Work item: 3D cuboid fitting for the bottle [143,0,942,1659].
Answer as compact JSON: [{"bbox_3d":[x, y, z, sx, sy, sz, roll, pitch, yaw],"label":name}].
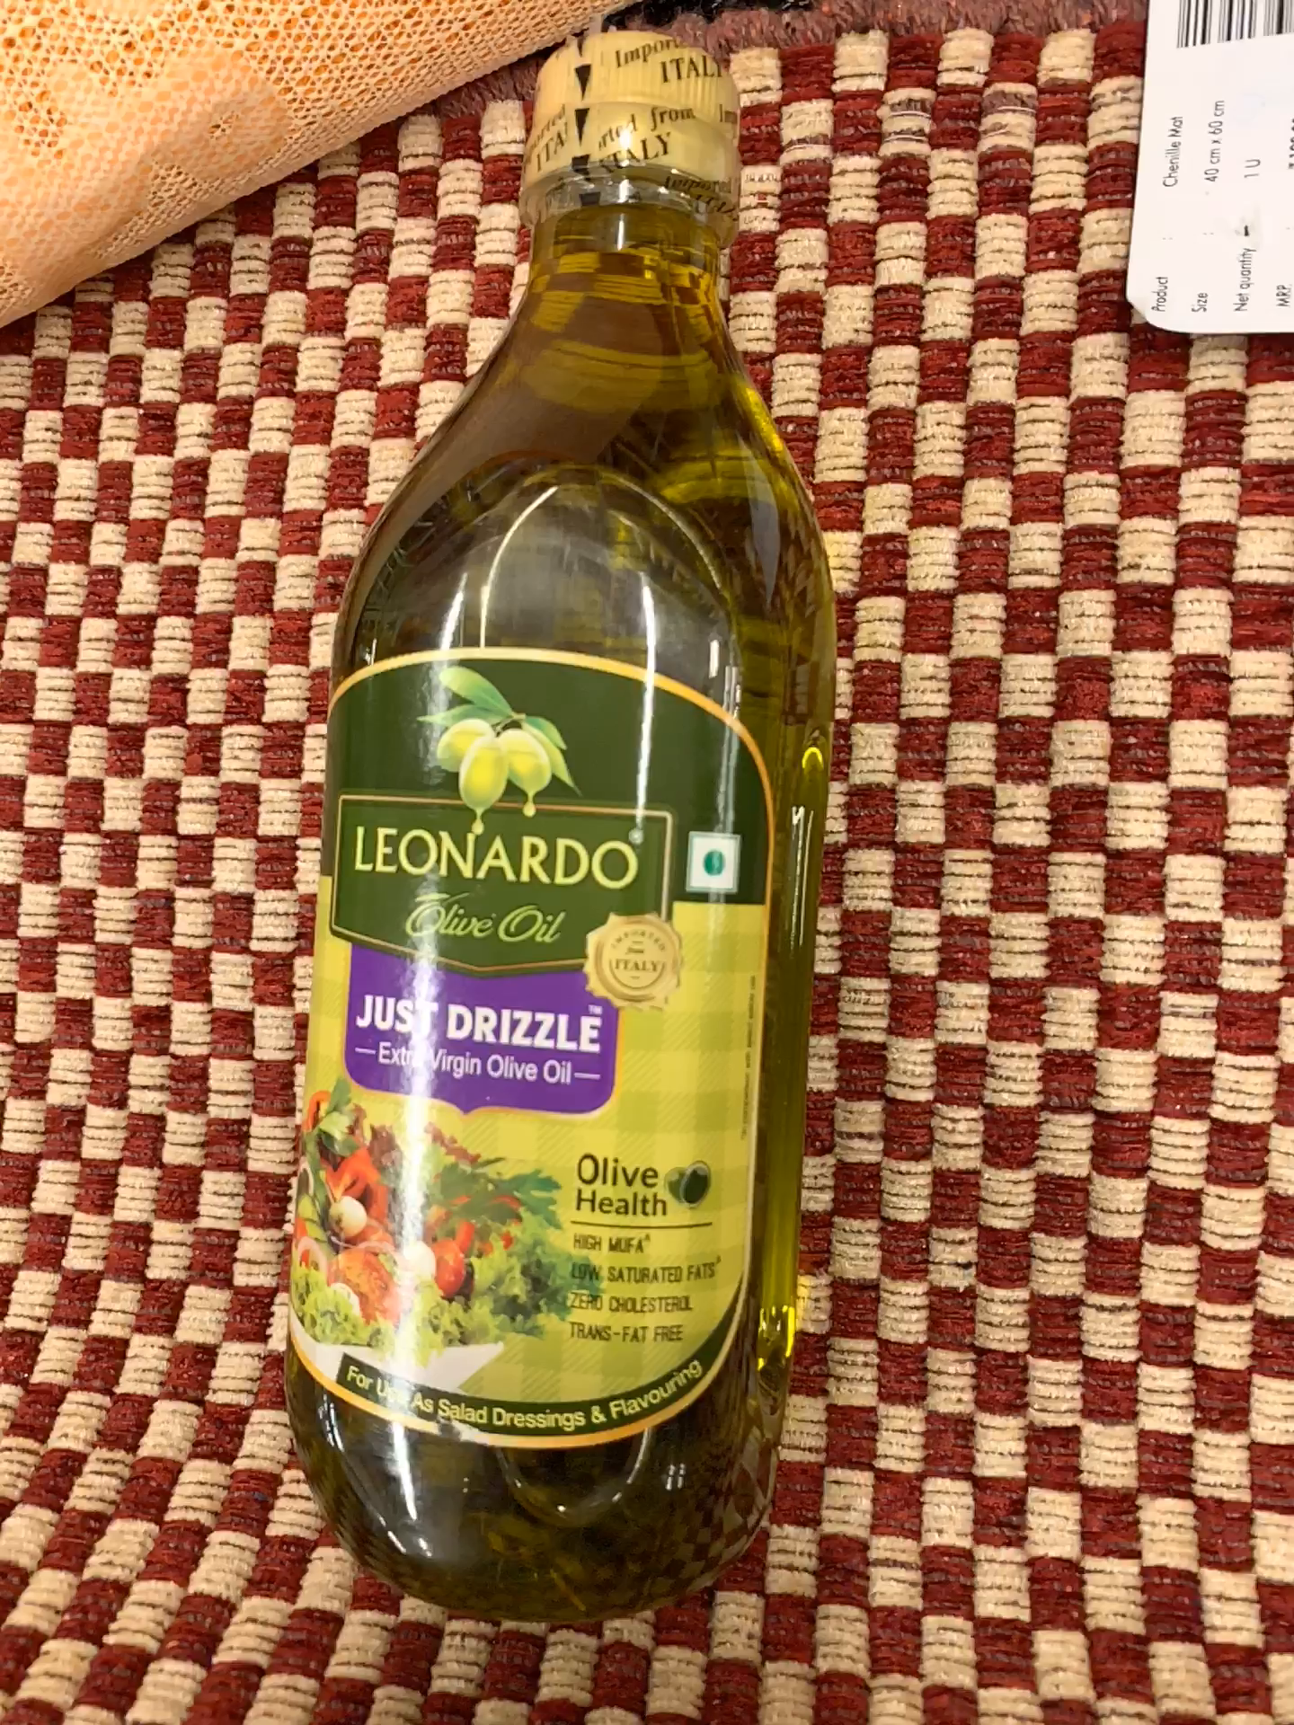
[{"bbox_3d":[-0.011,-0.022,0.208,0.080,0.070,0.240,6,90,6],"label":"bottle"}]
